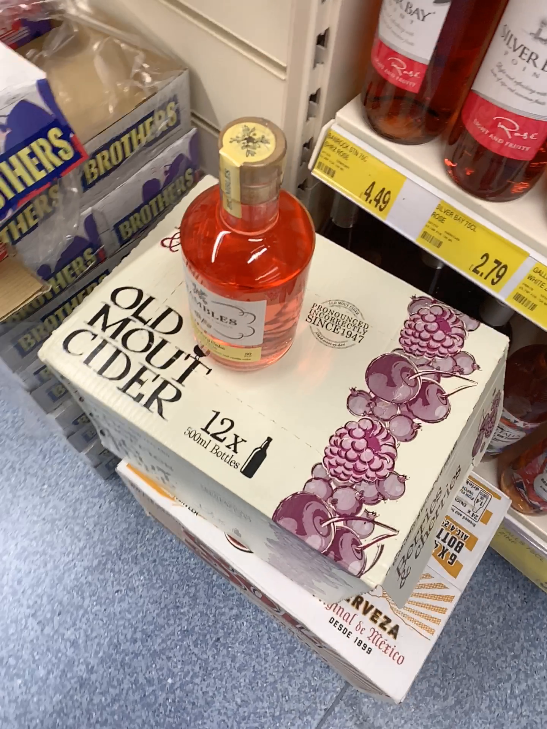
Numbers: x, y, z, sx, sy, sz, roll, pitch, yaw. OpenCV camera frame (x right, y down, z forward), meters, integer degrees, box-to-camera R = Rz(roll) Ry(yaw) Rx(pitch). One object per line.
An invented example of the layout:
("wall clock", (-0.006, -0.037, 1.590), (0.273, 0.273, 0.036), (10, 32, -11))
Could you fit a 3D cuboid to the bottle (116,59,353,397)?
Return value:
("bottle", (-0.022, -0.065, 0.335), (0.077, 0.176, 0.076), (1, 63, -3))
